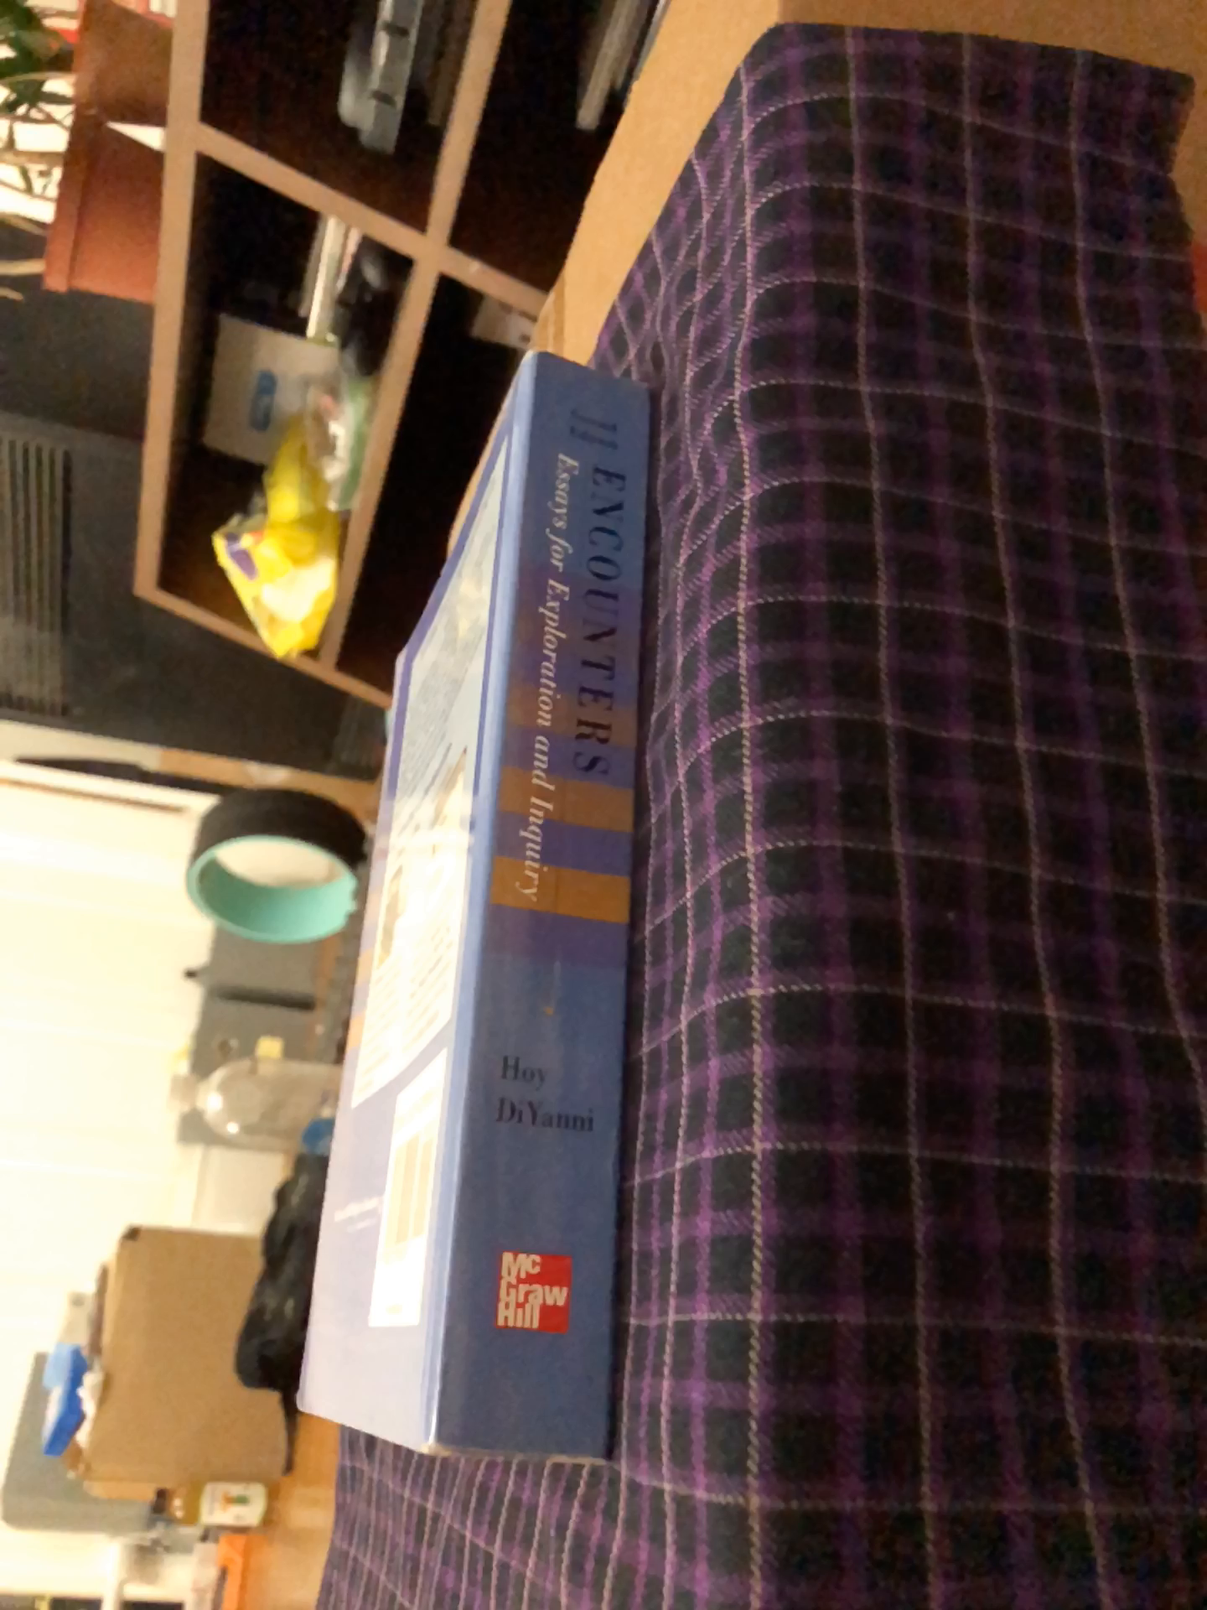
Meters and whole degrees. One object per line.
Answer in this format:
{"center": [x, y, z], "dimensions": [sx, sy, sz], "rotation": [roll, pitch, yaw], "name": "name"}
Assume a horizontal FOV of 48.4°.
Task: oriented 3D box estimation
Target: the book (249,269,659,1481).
{"center": [-0.041, 0.027, 0.334], "dimensions": [0.180, 0.040, 0.240], "rotation": [130, 148, -61], "name": "book"}
